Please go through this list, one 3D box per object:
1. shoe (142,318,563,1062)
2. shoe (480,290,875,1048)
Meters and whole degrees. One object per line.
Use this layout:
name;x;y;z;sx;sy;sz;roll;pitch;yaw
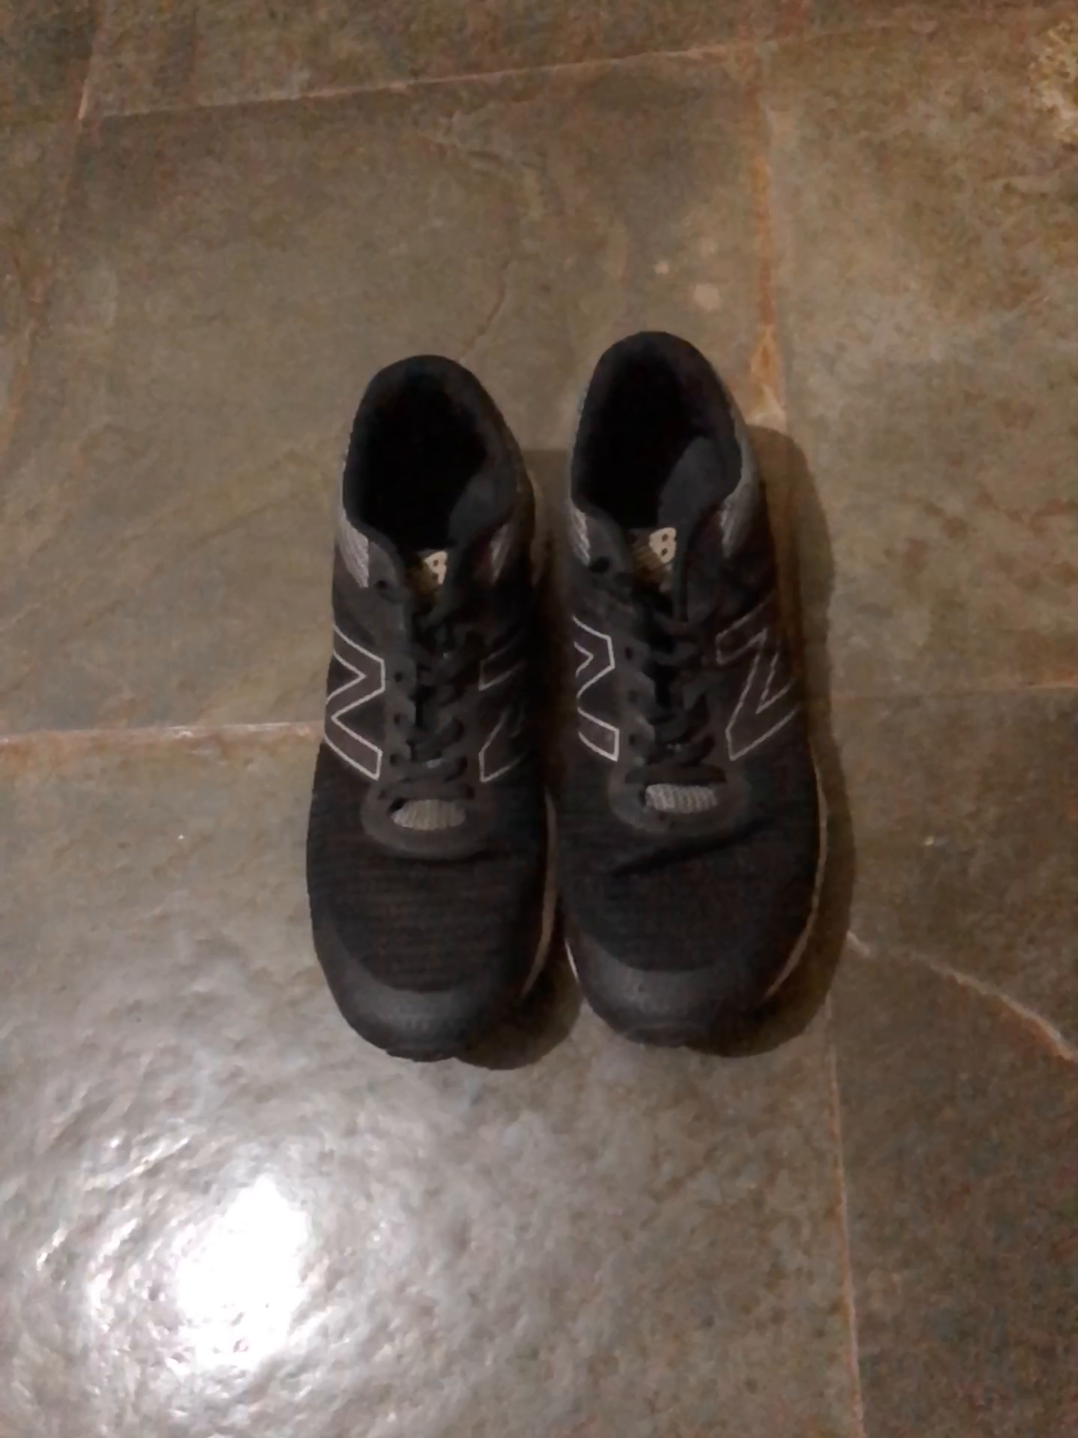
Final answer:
shoe;-0.064;-0.011;0.462;0.120;0.100;0.261;-6;66;6
shoe;0.045;-0.019;0.453;0.110;0.100;0.261;-6;66;6
